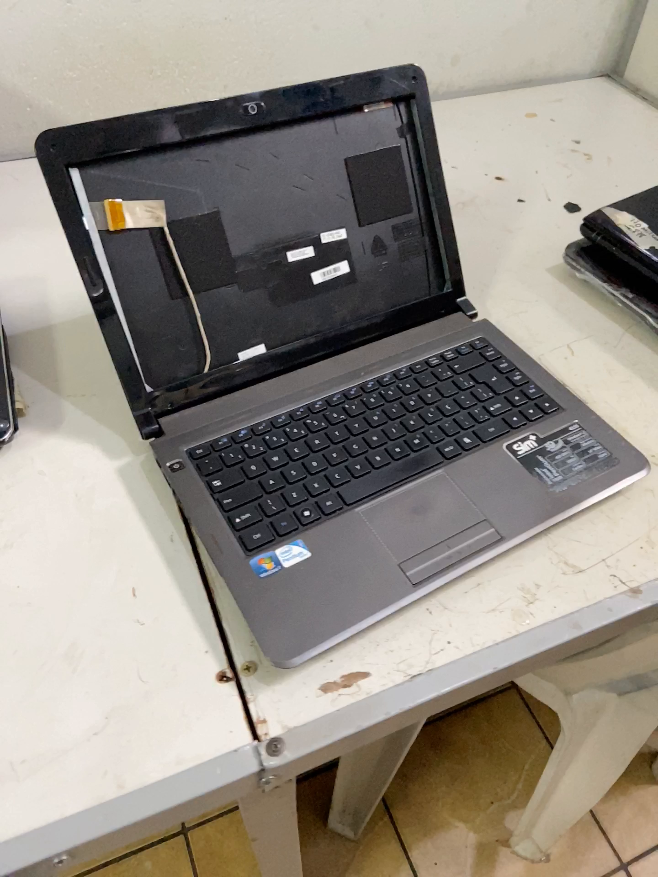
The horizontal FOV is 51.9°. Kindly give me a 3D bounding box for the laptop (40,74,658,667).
[{"bbox_3d":[0.024,-0.099,0.519,0.343,0.174,0.366,-22,52,-22],"label":"laptop"}]
